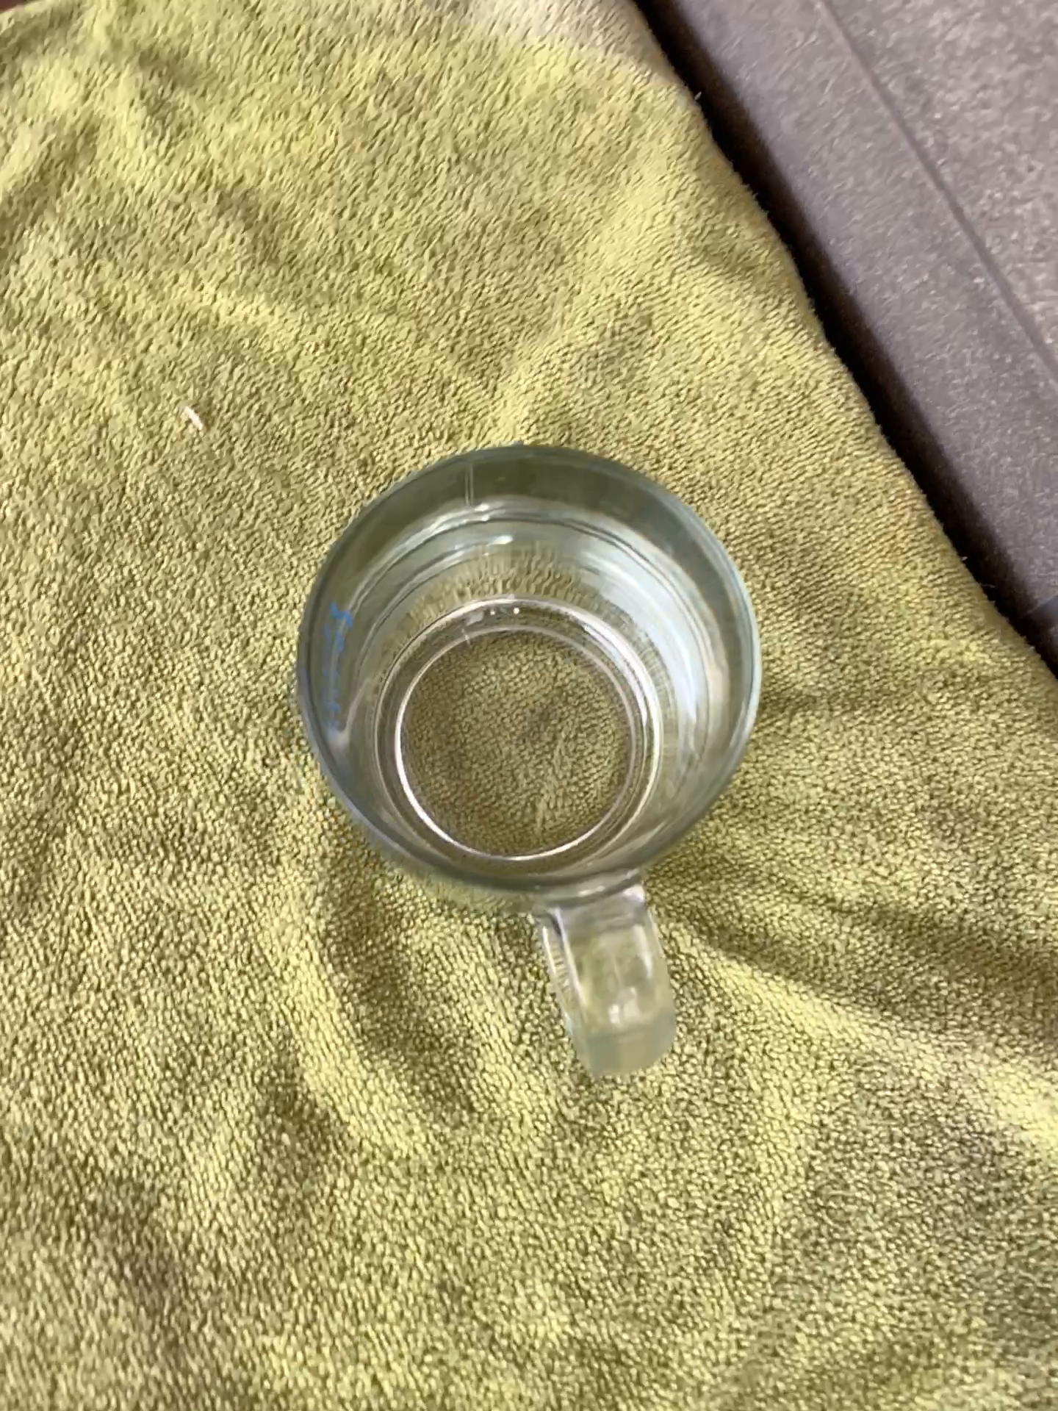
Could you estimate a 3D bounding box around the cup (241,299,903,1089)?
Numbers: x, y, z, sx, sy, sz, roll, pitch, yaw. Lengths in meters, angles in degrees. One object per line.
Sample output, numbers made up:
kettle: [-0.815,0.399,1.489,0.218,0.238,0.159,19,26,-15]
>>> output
cup: [0.002,0.004,0.231,0.080,0.100,0.120,-15,77,-7]
